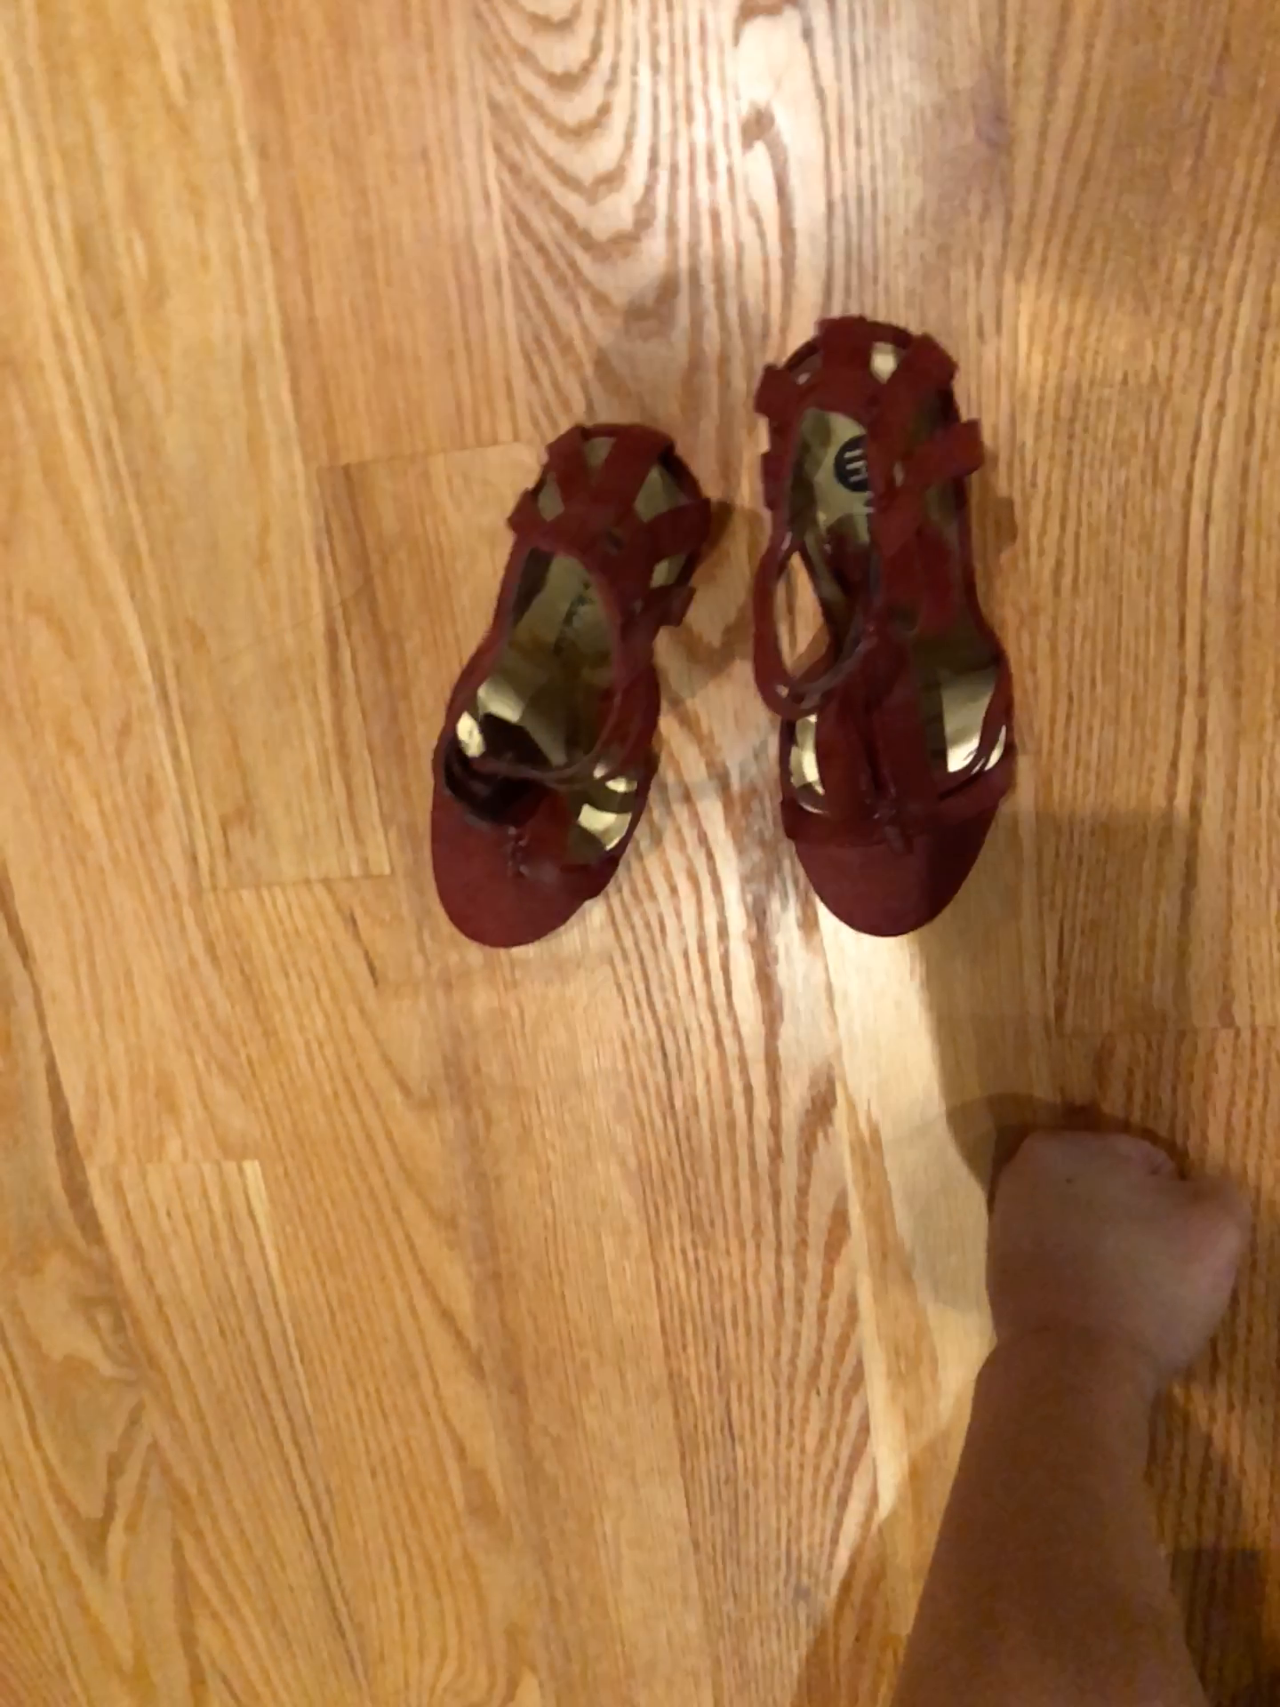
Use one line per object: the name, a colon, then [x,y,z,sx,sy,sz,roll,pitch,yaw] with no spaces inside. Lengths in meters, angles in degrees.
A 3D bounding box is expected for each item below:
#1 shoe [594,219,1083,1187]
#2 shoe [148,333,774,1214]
shoe: [0.063,-0.045,0.391,0.085,0.176,0.206,-5,105,13]
shoe: [-0.043,-0.035,0.419,0.085,0.176,0.199,21,109,4]
